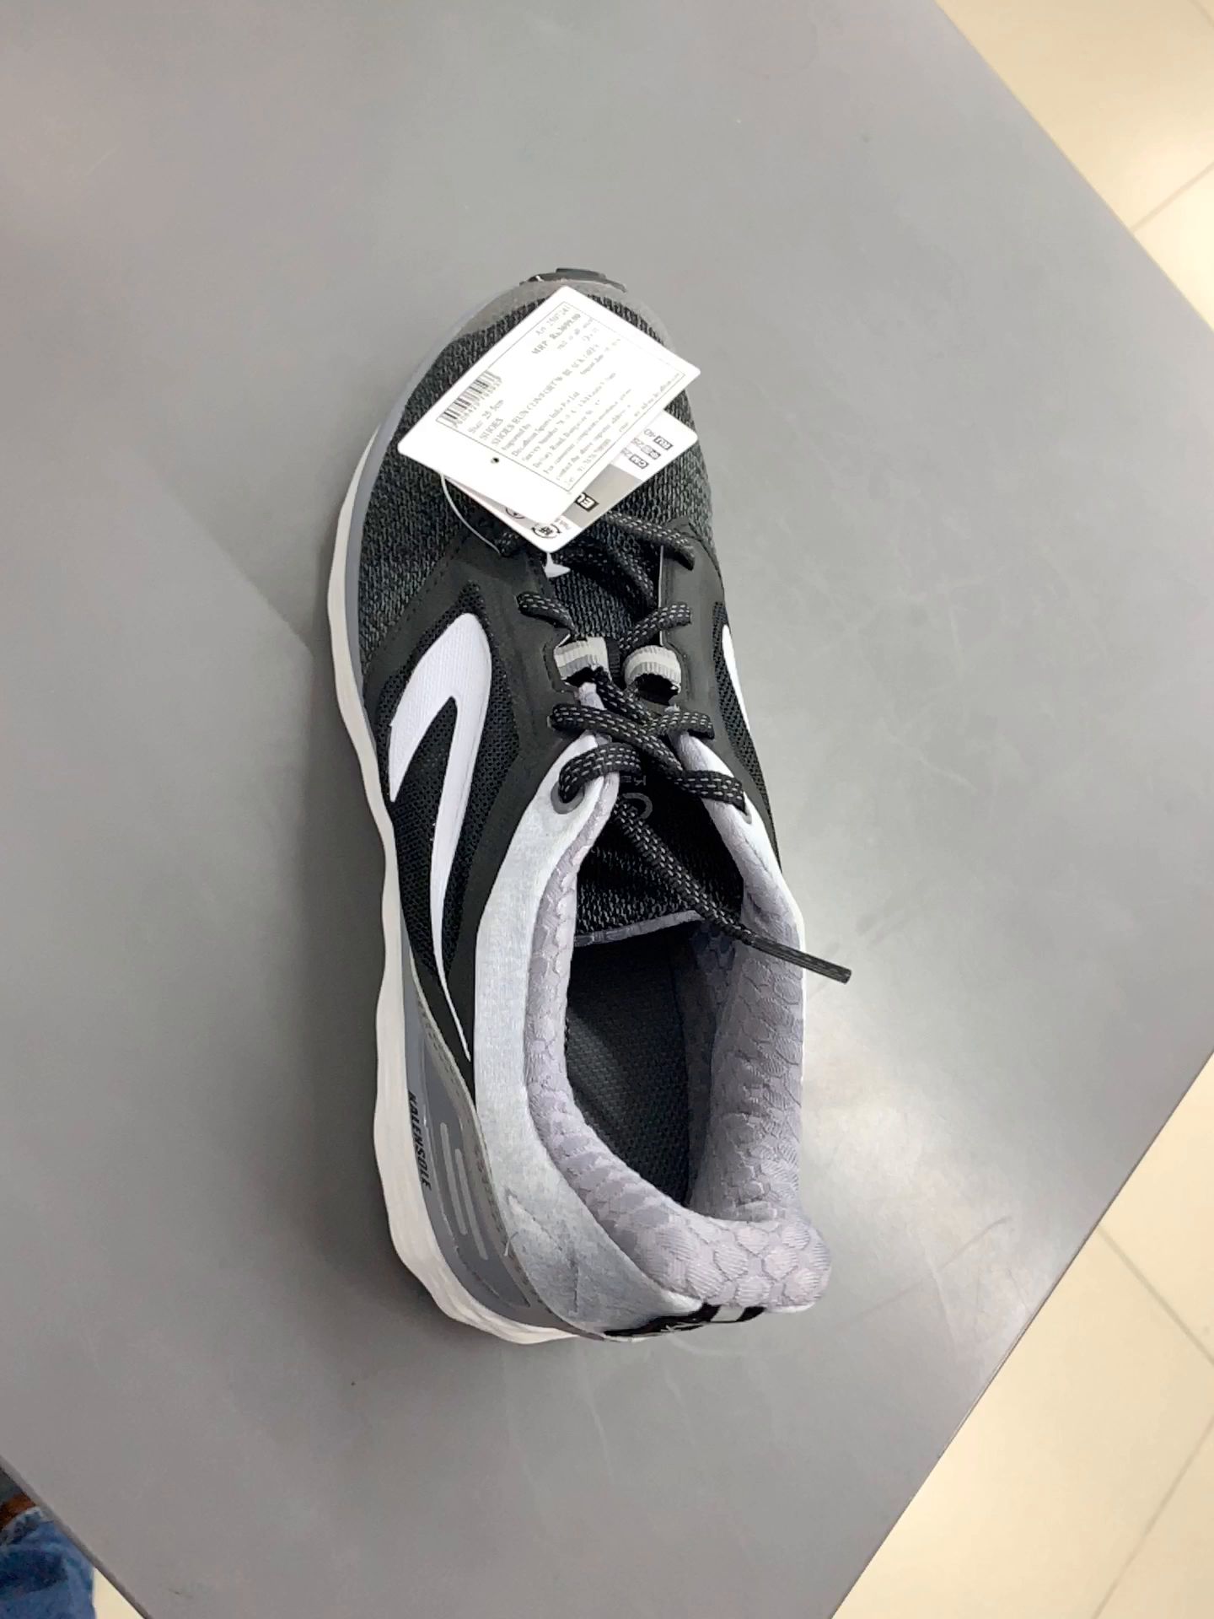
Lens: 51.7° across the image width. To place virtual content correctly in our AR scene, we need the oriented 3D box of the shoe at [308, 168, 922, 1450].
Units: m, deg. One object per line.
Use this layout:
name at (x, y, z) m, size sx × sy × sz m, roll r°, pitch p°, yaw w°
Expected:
shoe at (-0.011, -0.003, 0.285) m, size 0.100 × 0.090 × 0.240 m, roll 1°, pitch 75°, yaw -20°
